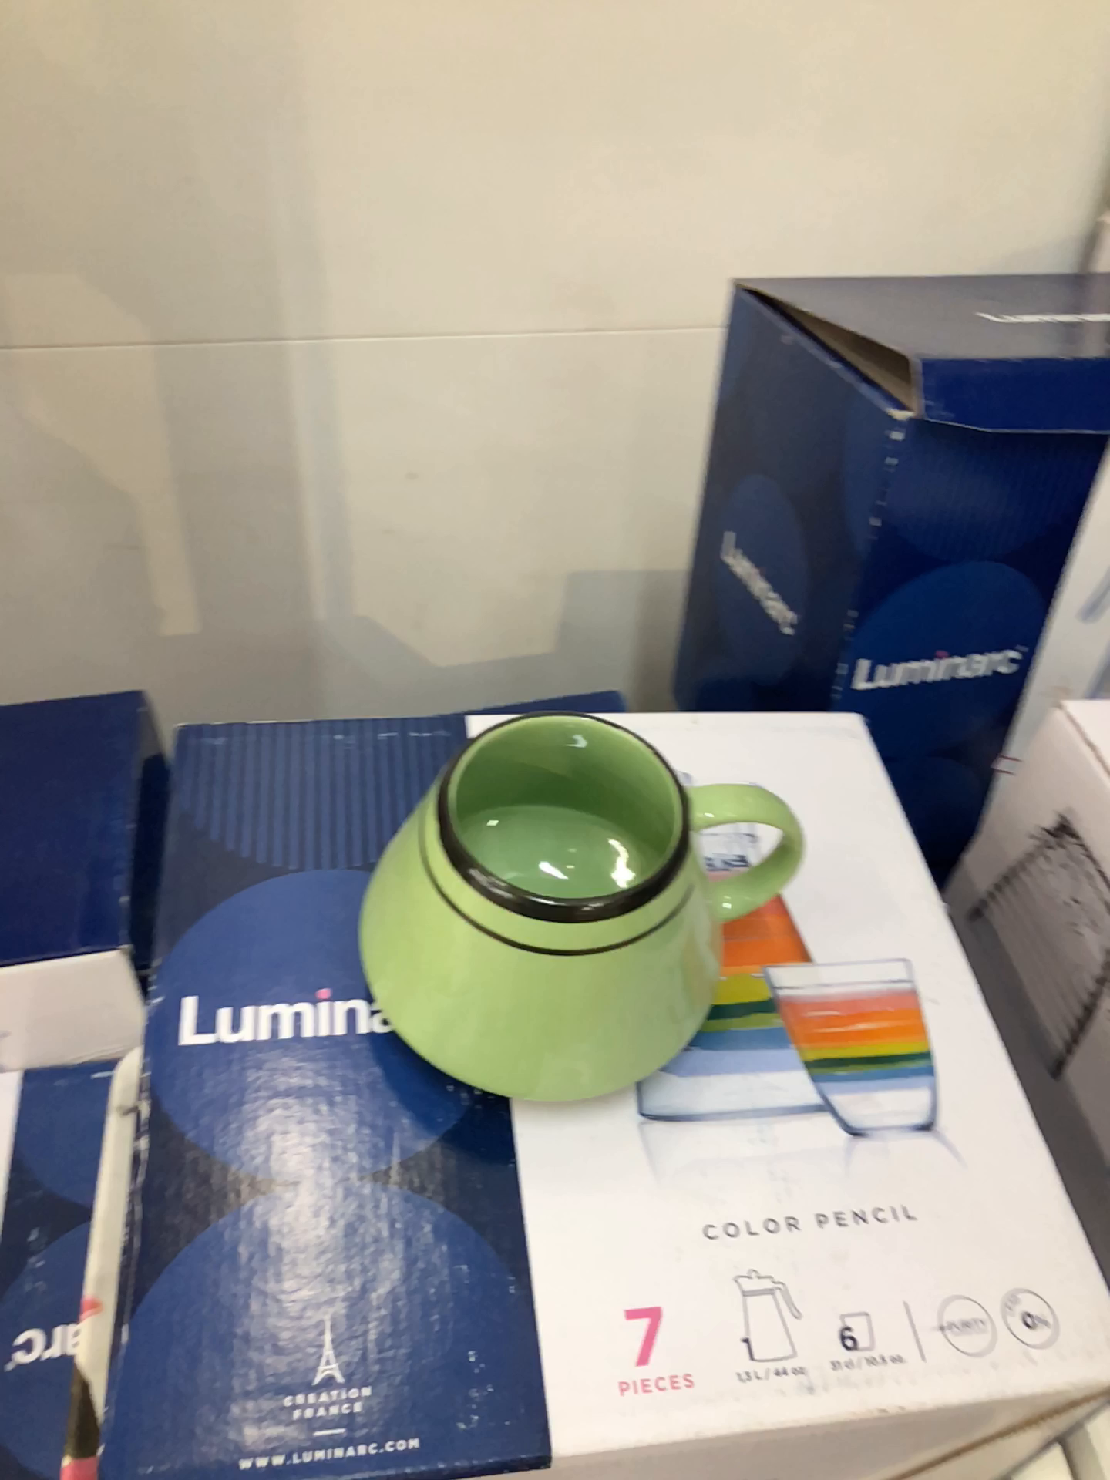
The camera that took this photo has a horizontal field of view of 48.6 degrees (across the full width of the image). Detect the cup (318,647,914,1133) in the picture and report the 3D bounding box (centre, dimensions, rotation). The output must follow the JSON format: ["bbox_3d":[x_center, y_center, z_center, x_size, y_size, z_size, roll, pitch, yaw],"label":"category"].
[{"bbox_3d":[0.008,0.037,0.349,0.140,0.070,0.111,-3,40,-7],"label":"cup"}]
